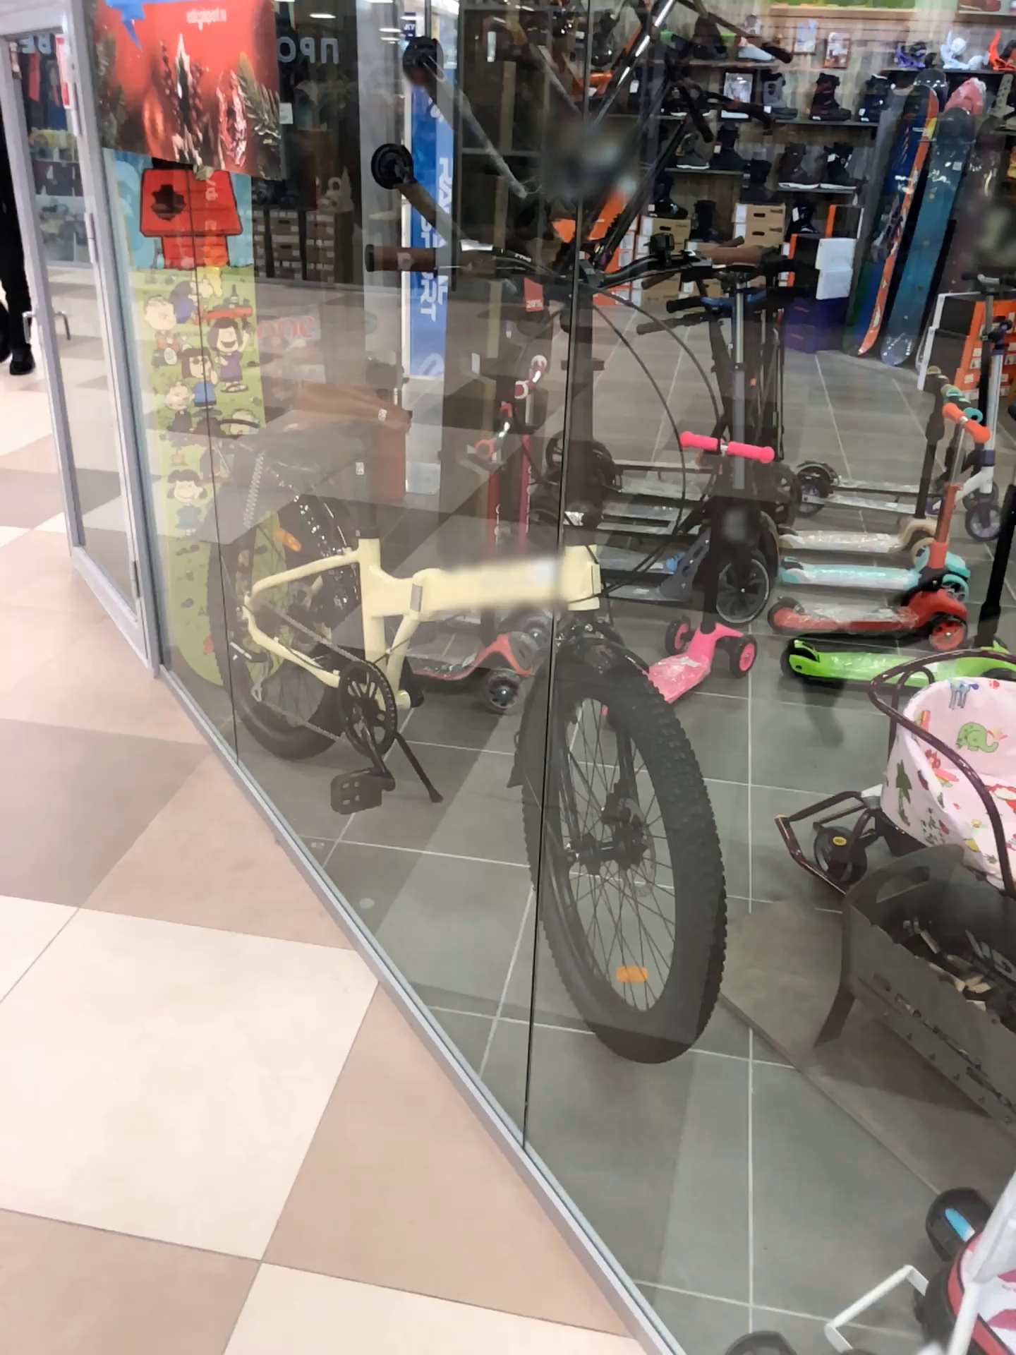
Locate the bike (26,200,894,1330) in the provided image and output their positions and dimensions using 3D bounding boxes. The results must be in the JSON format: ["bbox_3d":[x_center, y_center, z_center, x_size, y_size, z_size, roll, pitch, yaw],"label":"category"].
[{"bbox_3d":[-0.260,-0.137,1.962,0.594,1.175,1.708,-15,31,-33],"label":"bike"}]
